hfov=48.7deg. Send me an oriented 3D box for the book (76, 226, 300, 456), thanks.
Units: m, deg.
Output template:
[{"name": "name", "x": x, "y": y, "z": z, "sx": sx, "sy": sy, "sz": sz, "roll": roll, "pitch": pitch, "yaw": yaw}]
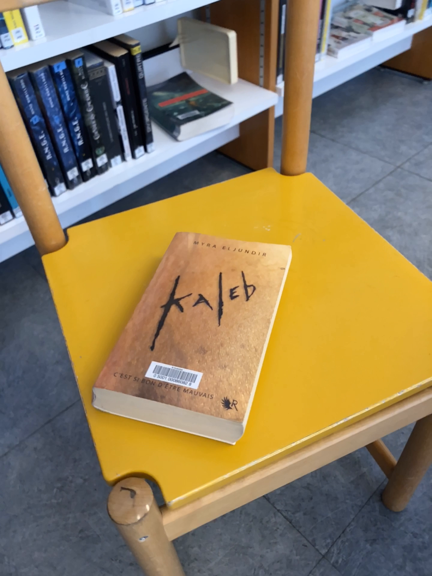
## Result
[{"name": "book", "x": -0.013, "y": 0.034, "z": 0.475, "sx": 0.149, "sy": 0.043, "sz": 0.225, "roll": 11, "pitch": 47, "yaw": 14}]
